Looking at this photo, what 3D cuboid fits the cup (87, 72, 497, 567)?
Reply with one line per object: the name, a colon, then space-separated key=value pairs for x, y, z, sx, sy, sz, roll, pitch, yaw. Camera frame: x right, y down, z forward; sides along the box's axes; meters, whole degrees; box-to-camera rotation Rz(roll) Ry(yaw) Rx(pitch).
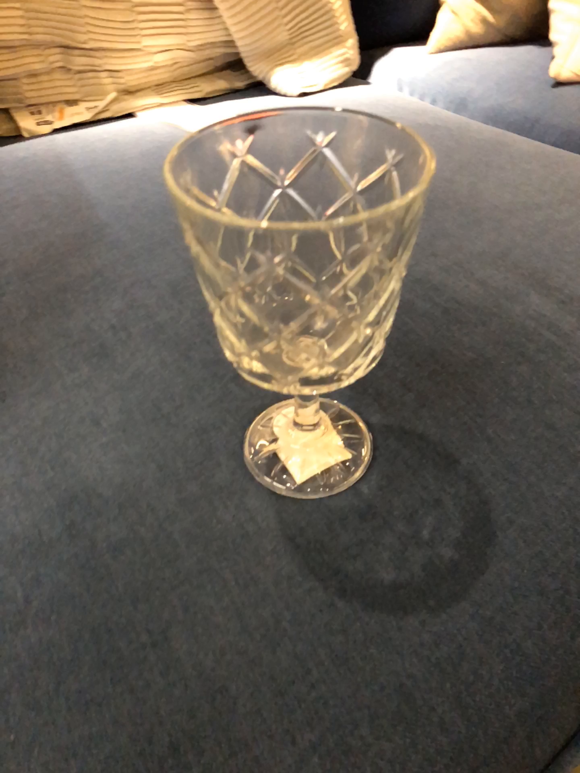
cup: x=0.004 y=-0.025 z=0.245 sx=0.090 sy=0.140 sz=0.090 roll=-1 pitch=43 yaw=1
